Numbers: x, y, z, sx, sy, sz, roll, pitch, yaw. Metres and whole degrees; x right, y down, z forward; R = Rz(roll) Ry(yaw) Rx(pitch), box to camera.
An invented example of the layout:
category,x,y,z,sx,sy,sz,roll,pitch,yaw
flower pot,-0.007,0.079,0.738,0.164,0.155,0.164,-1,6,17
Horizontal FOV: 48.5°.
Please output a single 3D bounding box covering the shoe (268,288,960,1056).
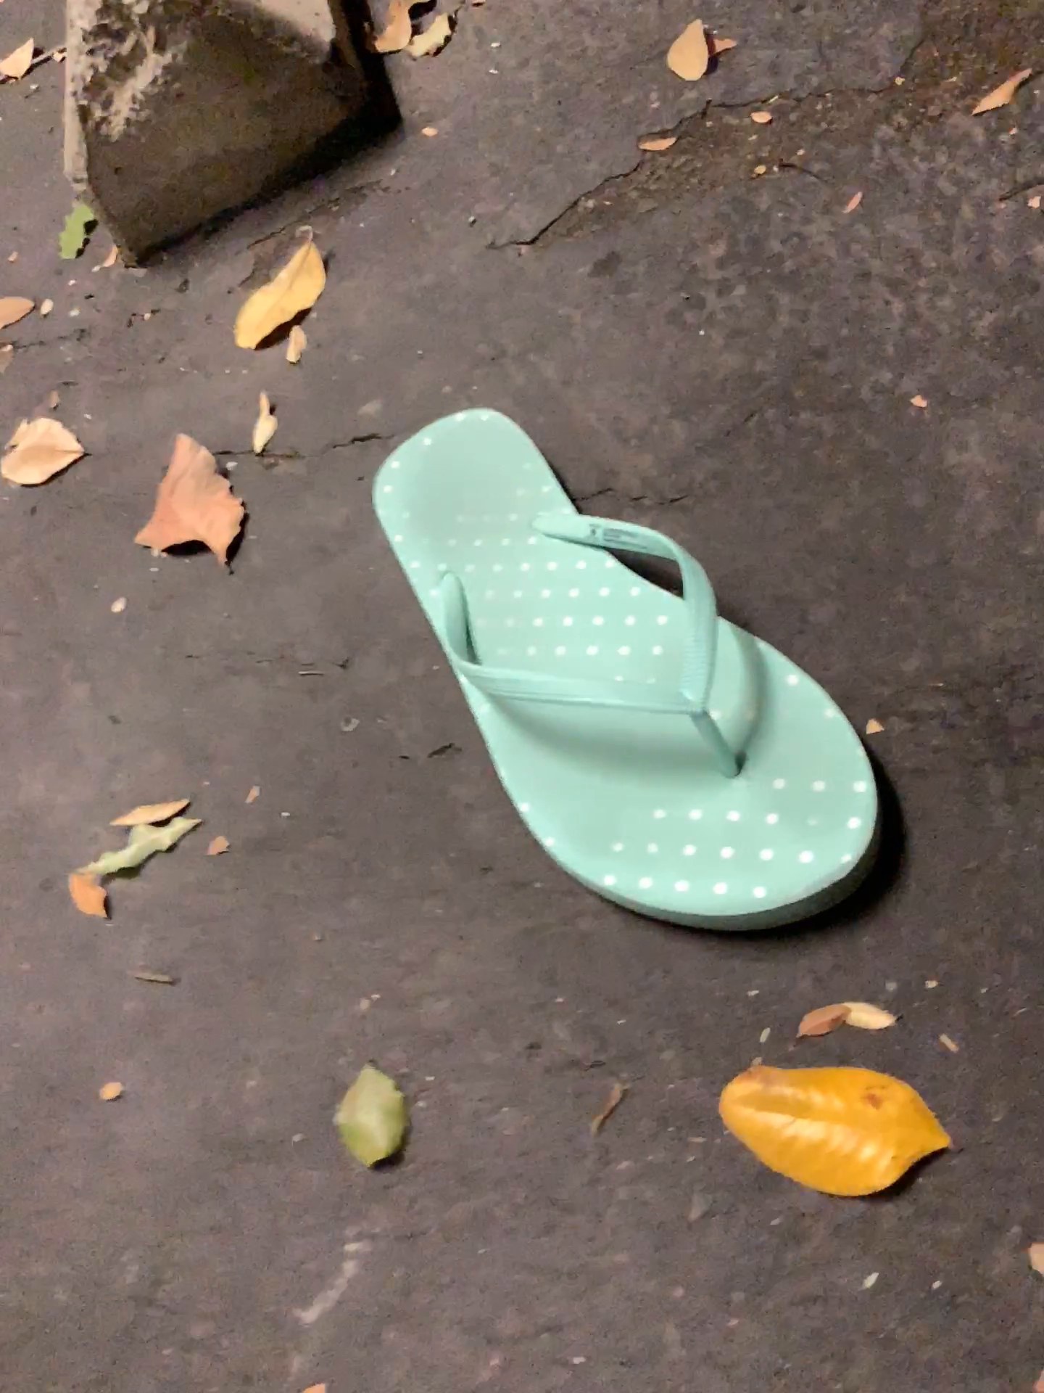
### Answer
category,x,y,z,sx,sy,sz,roll,pitch,yaw
shoe,0.015,-0.030,0.419,0.120,0.050,0.280,-32,54,-1
